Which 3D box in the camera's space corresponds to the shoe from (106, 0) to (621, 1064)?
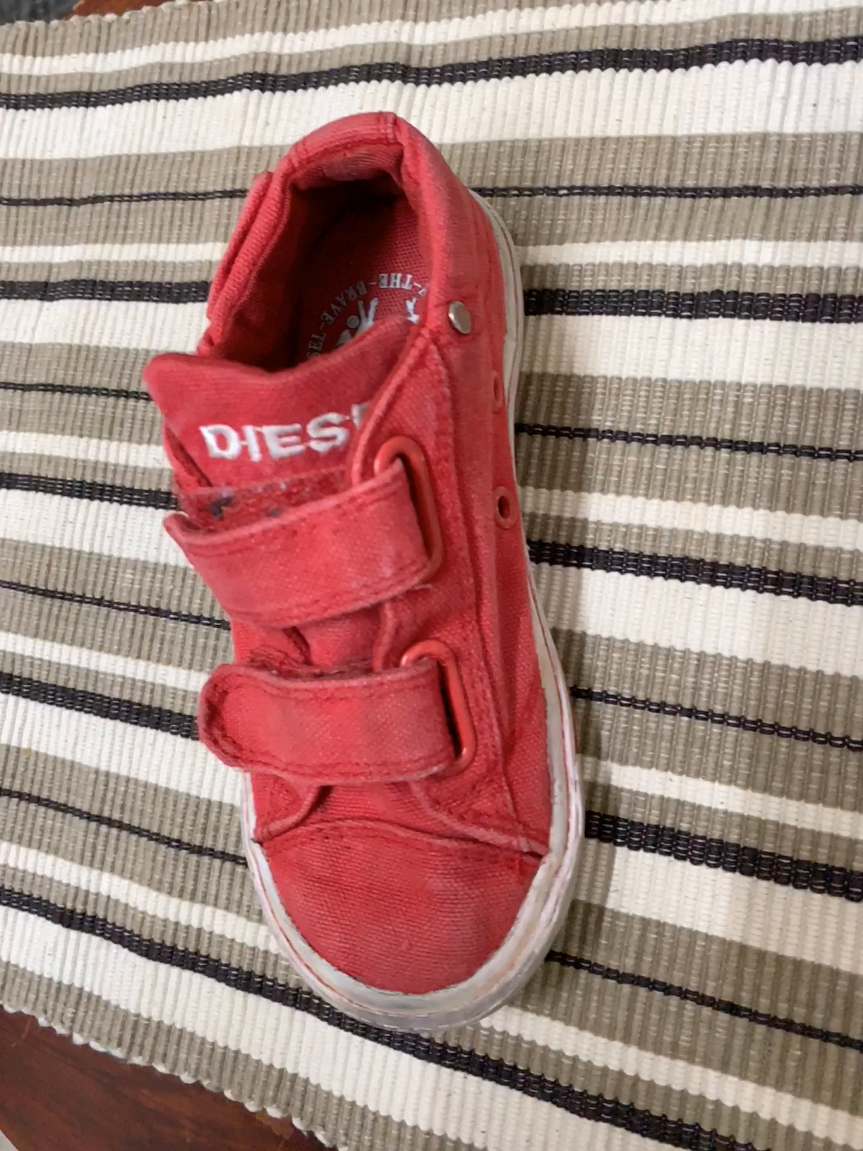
[{"bbox_3d":[-0.010,-0.008,0.187,0.080,0.070,0.170,-3,84,21],"label":"shoe"}]
